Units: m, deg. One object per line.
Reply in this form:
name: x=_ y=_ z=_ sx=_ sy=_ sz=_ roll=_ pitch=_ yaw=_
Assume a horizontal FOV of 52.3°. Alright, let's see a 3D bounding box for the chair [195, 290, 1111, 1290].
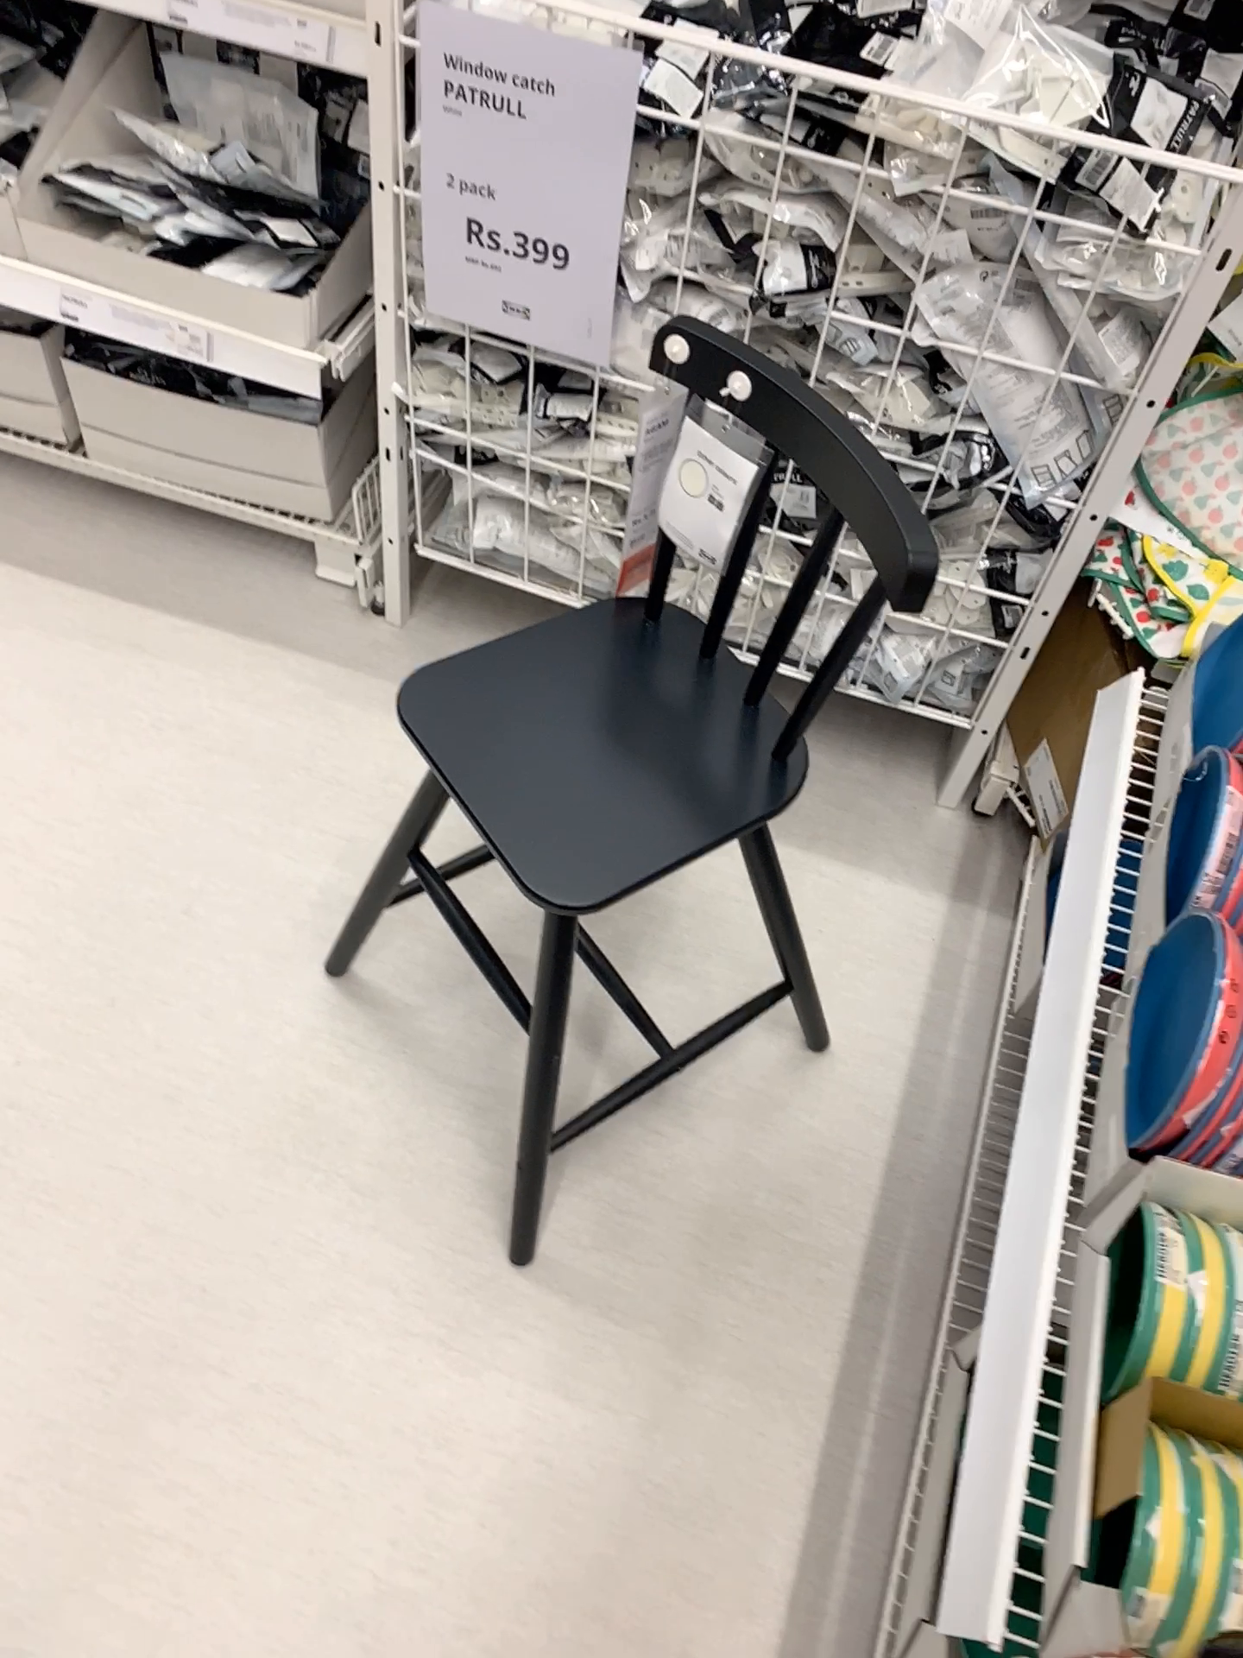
chair: x=-0.012 y=0.004 z=1.126 sx=0.460 sy=0.688 sz=0.421 roll=-26 pitch=61 yaw=-22
